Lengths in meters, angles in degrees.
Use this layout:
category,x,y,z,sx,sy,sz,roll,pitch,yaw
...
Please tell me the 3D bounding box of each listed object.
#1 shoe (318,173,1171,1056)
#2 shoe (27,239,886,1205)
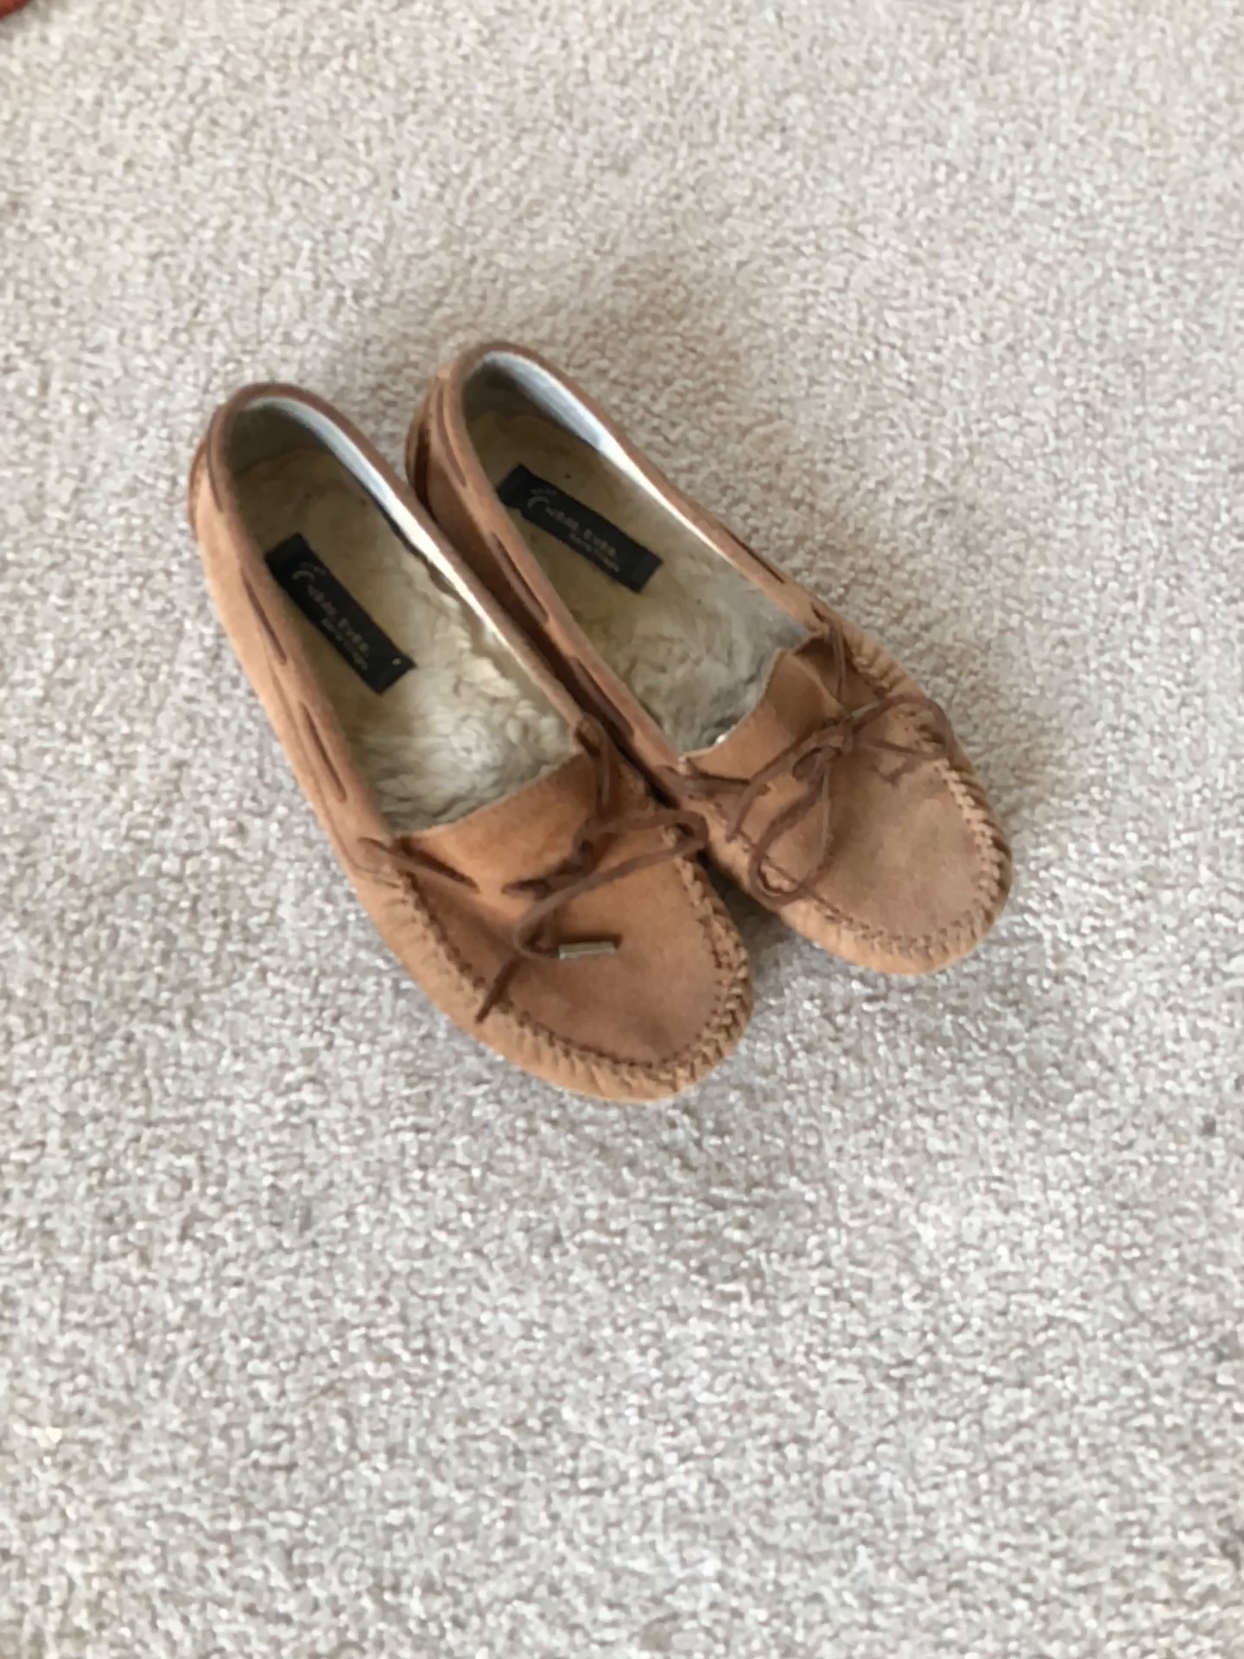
category,x,y,z,sx,sy,sz,roll,pitch,yaw
shoe,0.032,-0.066,0.435,0.098,0.068,0.274,-41,86,-16
shoe,-0.052,-0.032,0.412,0.105,0.068,0.270,-34,84,-16
